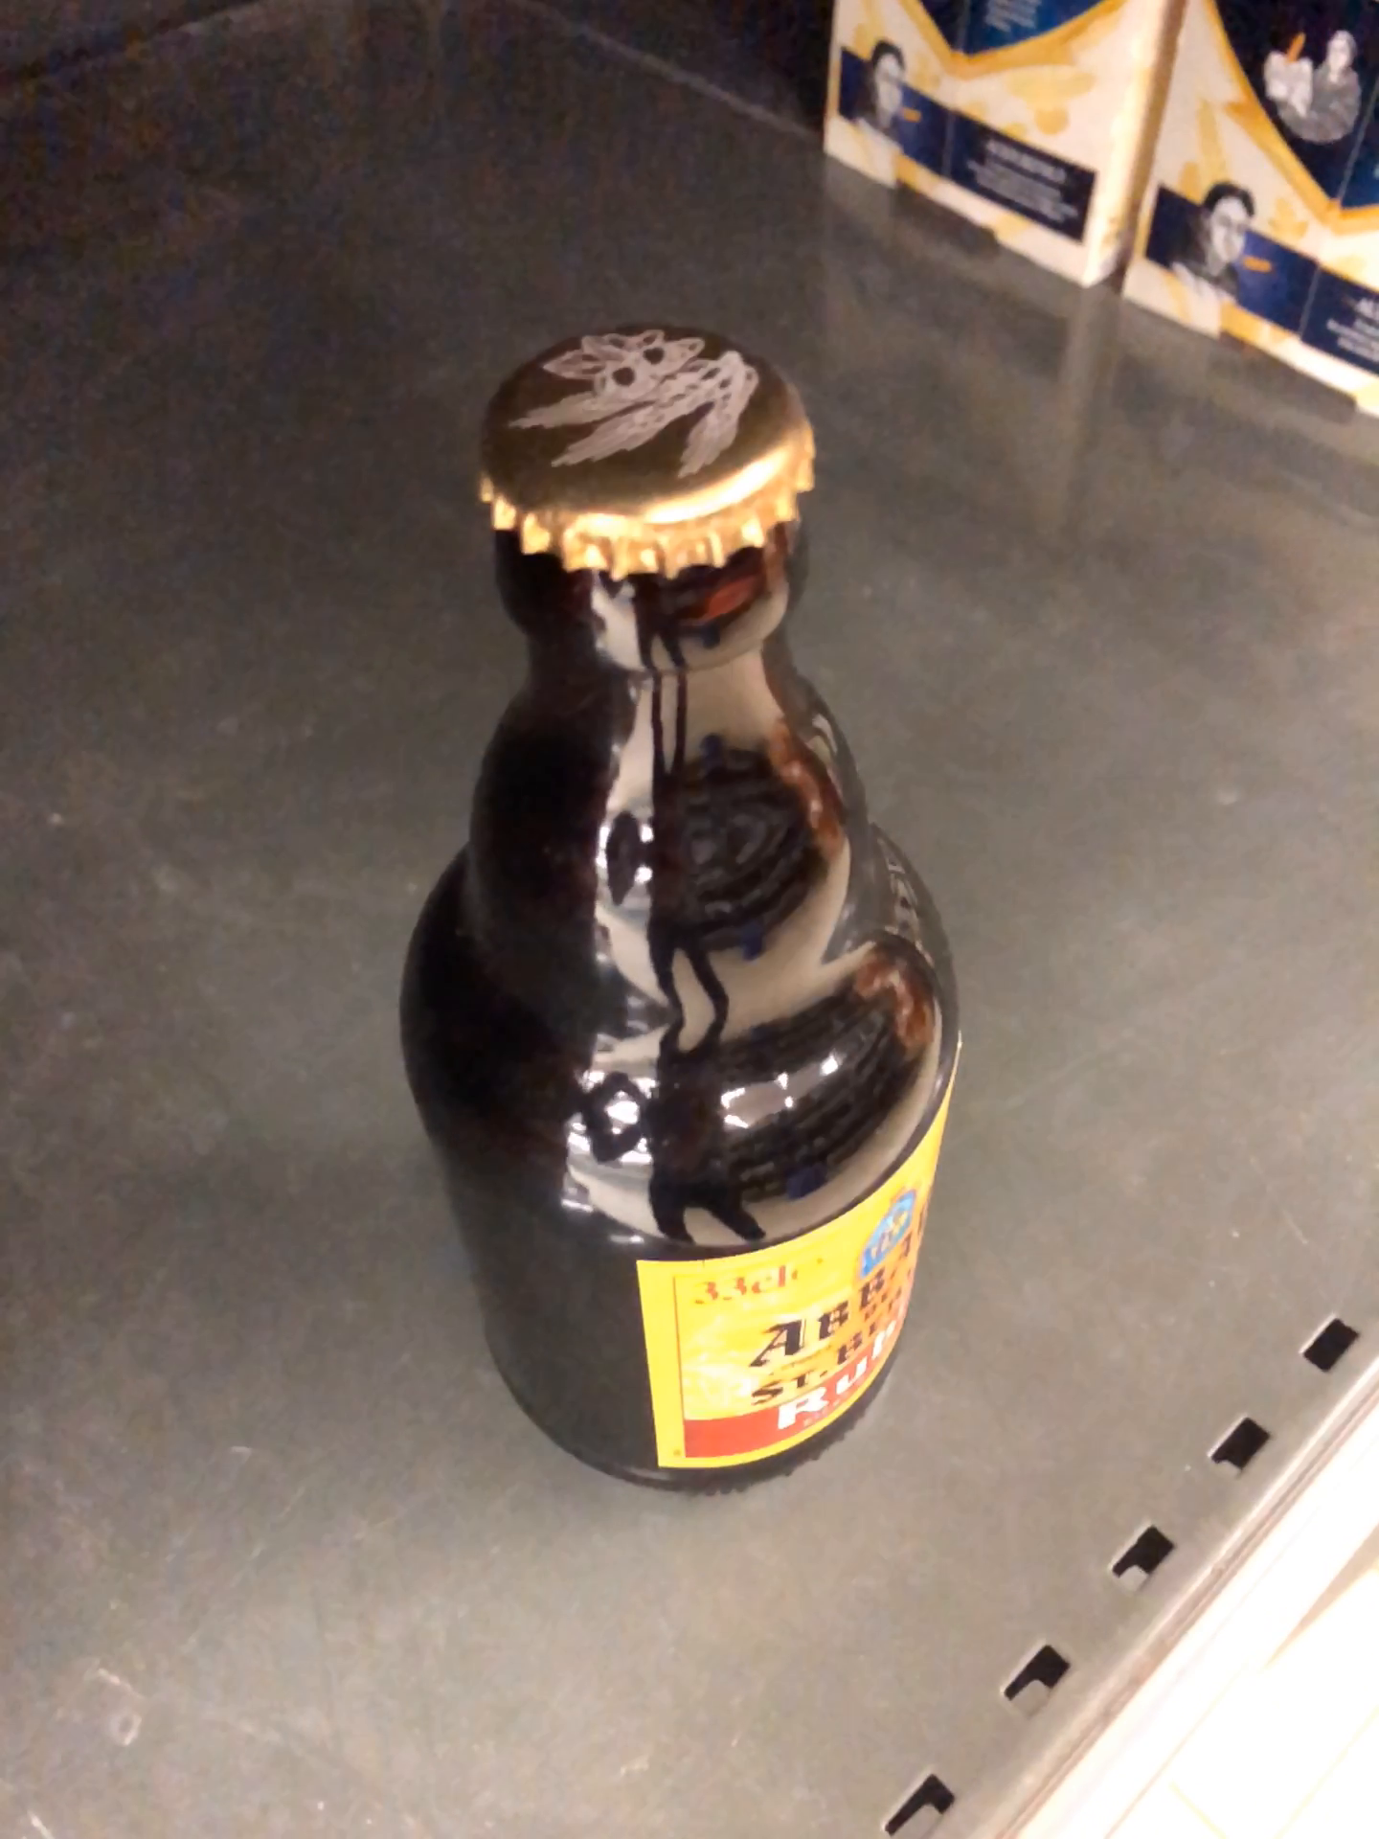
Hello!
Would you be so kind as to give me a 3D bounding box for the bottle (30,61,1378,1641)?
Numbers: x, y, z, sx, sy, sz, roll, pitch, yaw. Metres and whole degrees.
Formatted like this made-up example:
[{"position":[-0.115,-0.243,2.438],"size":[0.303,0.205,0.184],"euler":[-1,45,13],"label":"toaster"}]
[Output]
[{"position":[0.004,0.009,0.187],"size":[0.080,0.169,0.070],"euler":[-37,59,-24],"label":"bottle"}]
